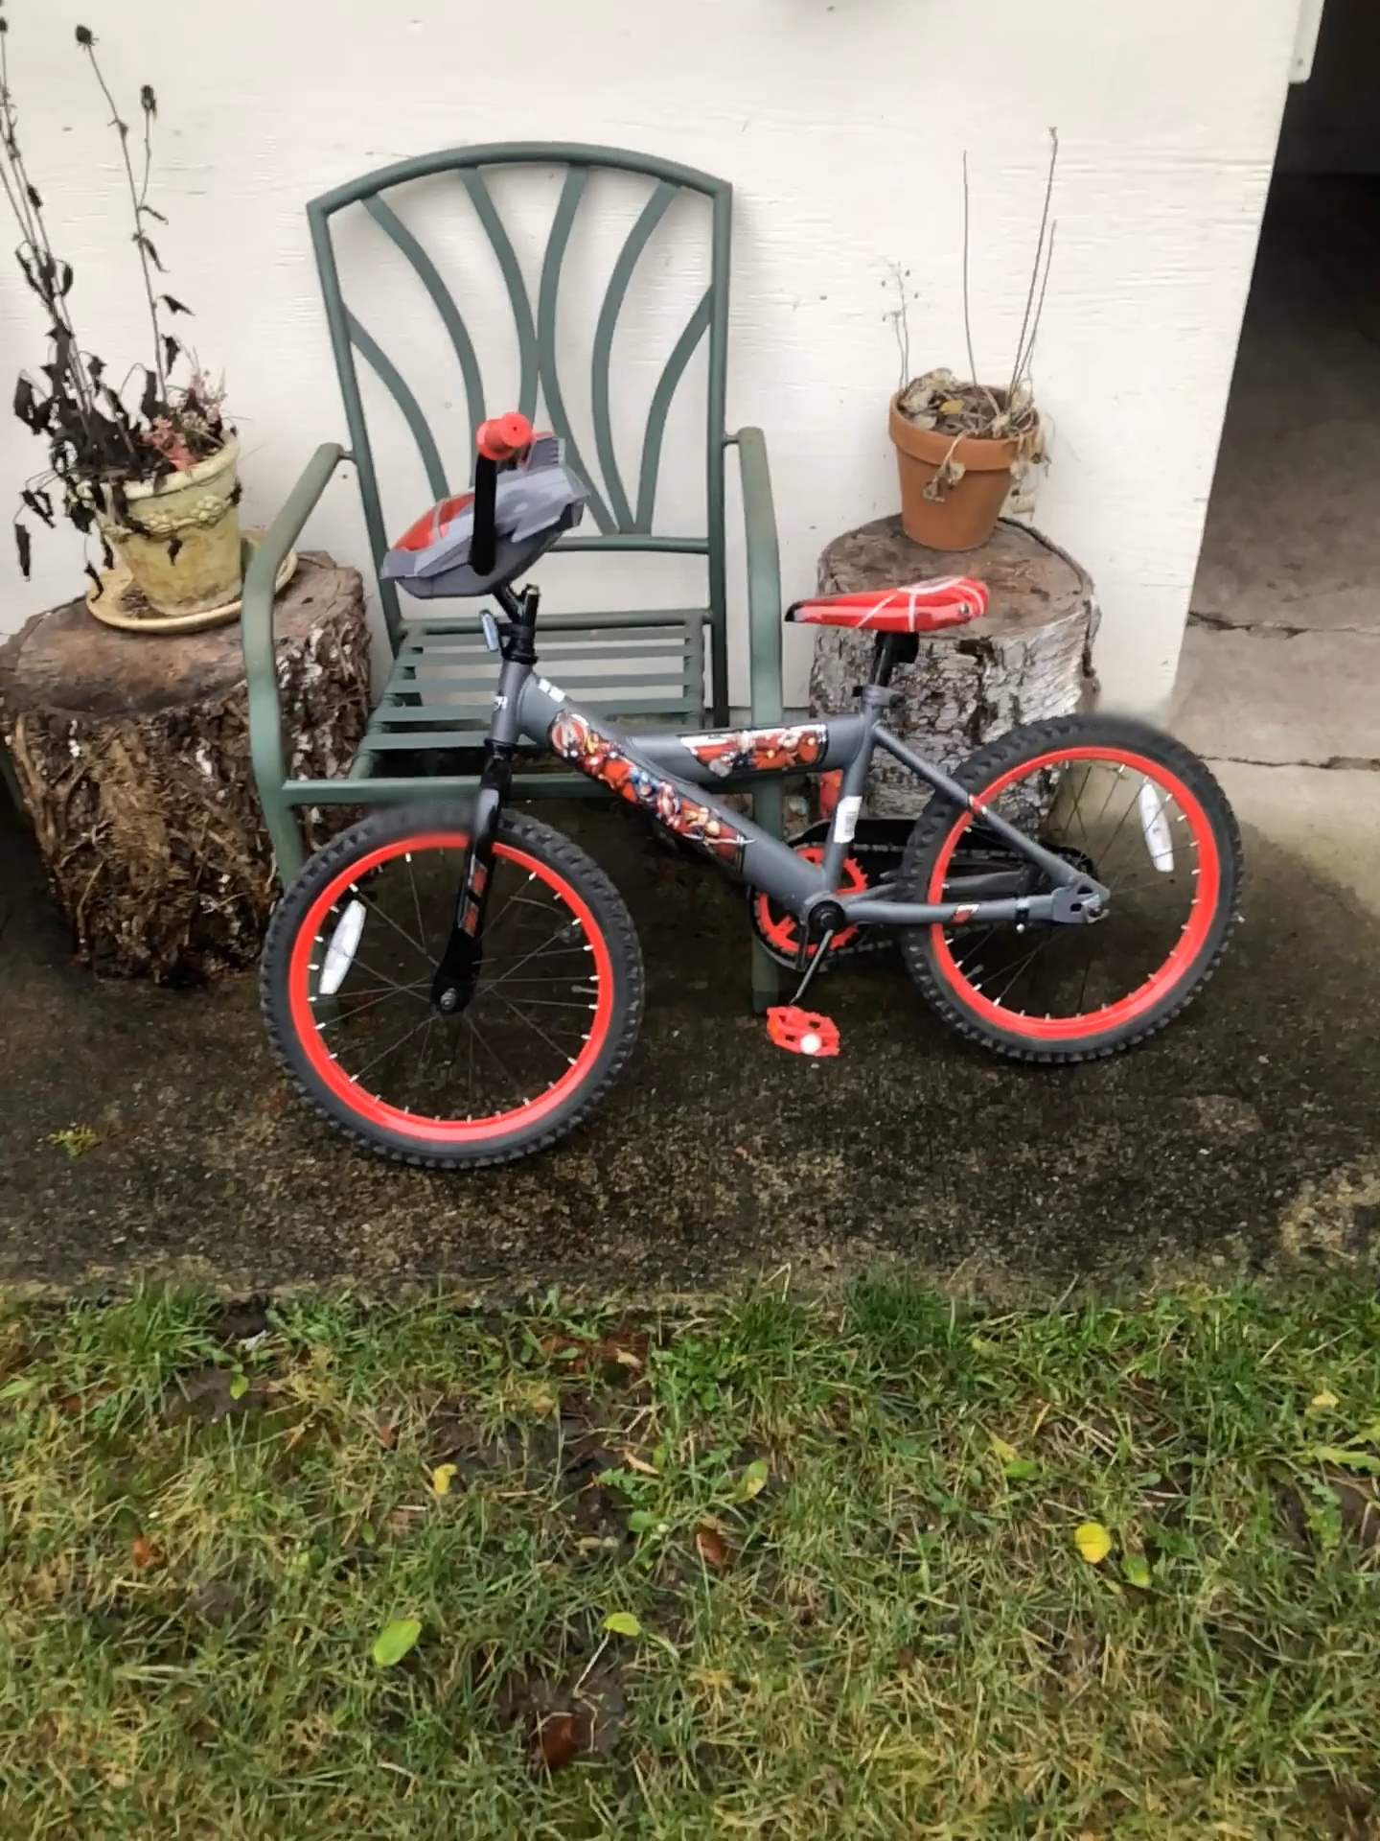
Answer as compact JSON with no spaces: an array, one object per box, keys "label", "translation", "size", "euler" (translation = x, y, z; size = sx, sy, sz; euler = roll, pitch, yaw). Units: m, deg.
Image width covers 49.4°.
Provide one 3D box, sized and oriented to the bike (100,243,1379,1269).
[{"label":"bike","translation":[0.075,-0.202,1.783],"size":[1.199,0.853,0.605],"euler":[-8,38,-4]}]
